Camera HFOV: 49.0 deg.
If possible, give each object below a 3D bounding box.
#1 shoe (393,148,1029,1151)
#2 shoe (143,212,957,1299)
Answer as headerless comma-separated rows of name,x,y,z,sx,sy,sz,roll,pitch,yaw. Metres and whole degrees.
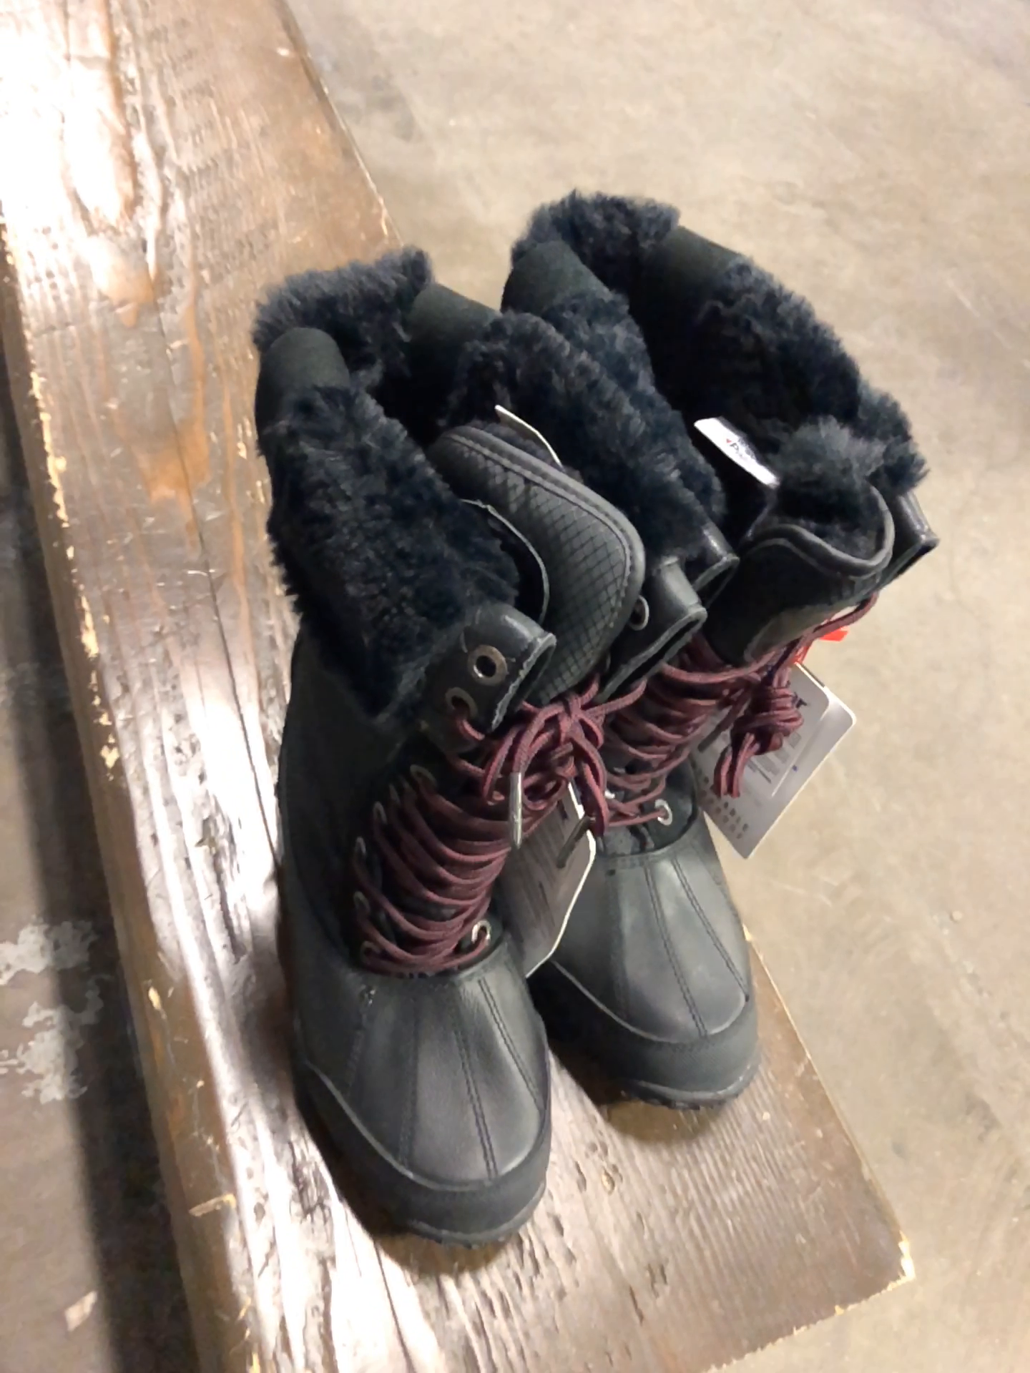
shoe,0.059,-0.001,0.401,0.100,0.258,0.231,-15,59,-23
shoe,-0.028,0.036,0.356,0.100,0.258,0.221,-15,59,-23
